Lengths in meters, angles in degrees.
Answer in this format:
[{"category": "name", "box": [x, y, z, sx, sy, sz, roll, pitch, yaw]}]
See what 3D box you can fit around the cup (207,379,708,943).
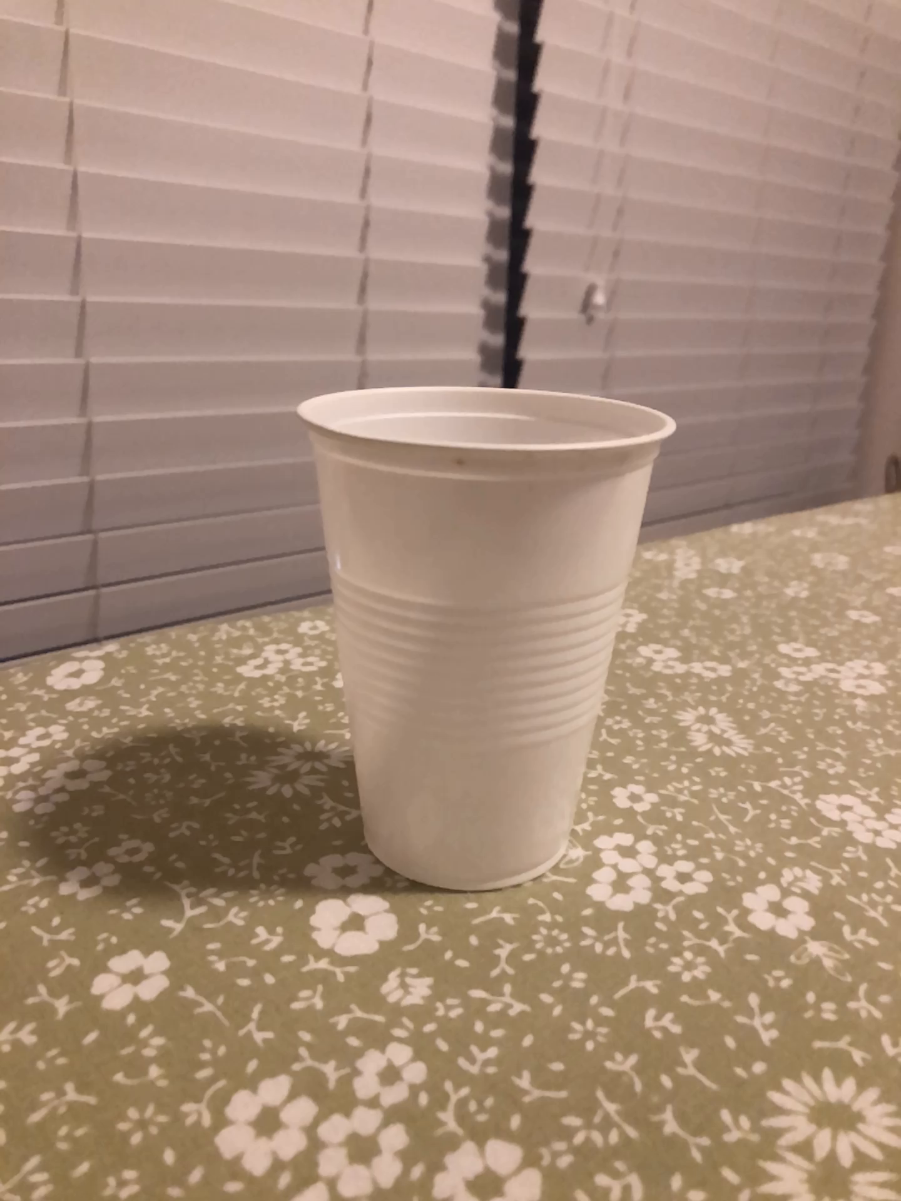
[{"category": "cup", "box": [0.005, 0.003, 0.220, 0.077, 0.090, 0.079, 1, 18, 0]}]
